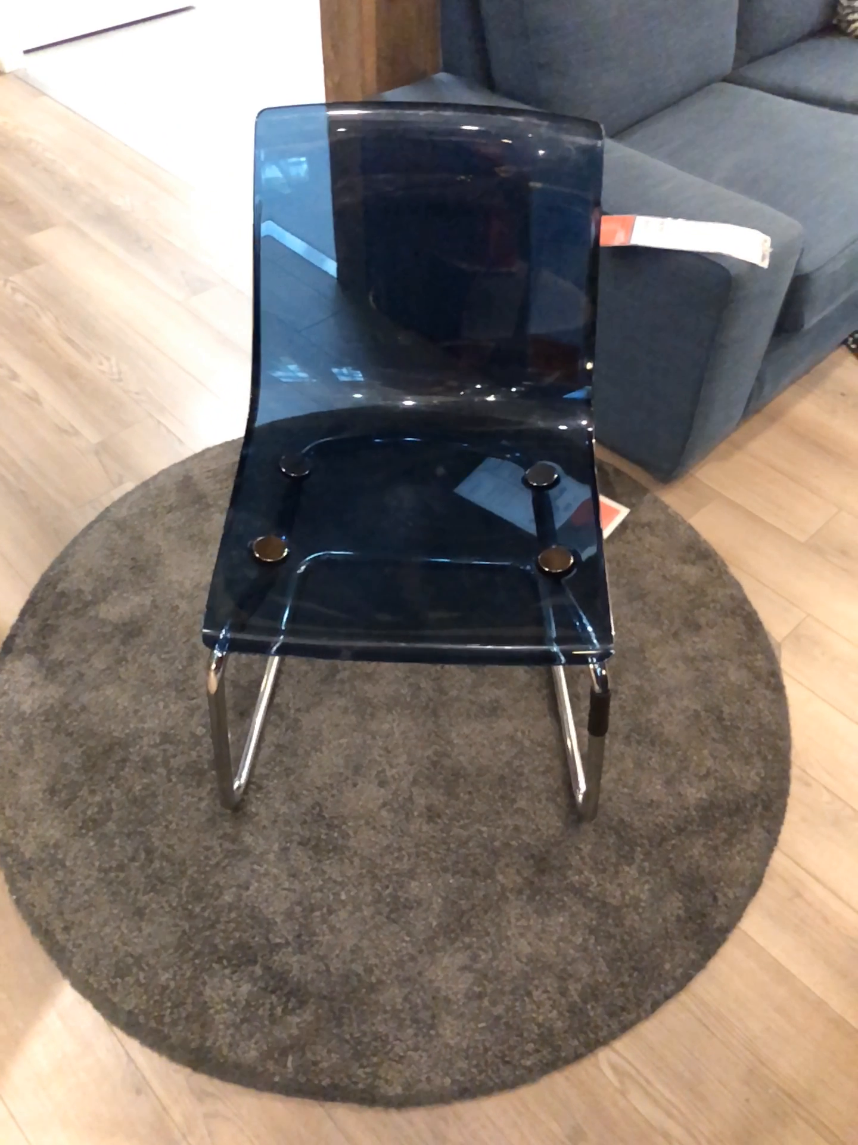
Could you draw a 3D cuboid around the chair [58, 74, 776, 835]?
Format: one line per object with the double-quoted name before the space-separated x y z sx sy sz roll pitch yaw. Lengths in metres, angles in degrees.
"chair" -0.010 -0.093 1.255 0.580 0.867 0.502 2 48 0
